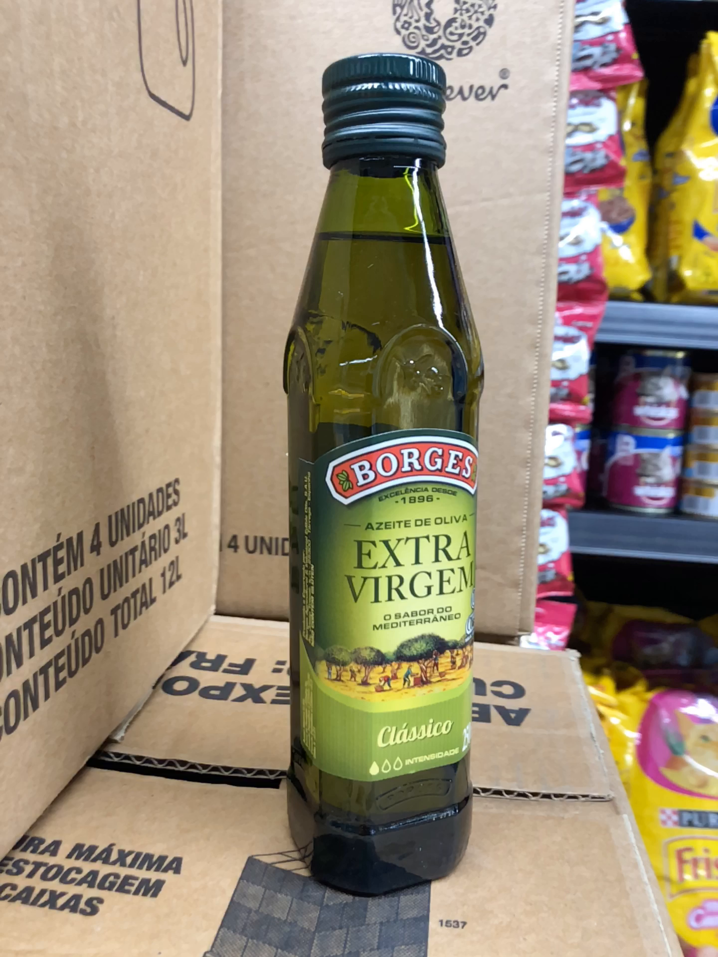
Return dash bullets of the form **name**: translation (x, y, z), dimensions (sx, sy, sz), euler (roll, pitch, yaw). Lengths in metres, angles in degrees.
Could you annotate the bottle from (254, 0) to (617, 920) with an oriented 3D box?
- **bottle**: translation (0.013, -0.008, 0.215), dimensions (0.060, 0.219, 0.060), euler (3, 10, 0)
